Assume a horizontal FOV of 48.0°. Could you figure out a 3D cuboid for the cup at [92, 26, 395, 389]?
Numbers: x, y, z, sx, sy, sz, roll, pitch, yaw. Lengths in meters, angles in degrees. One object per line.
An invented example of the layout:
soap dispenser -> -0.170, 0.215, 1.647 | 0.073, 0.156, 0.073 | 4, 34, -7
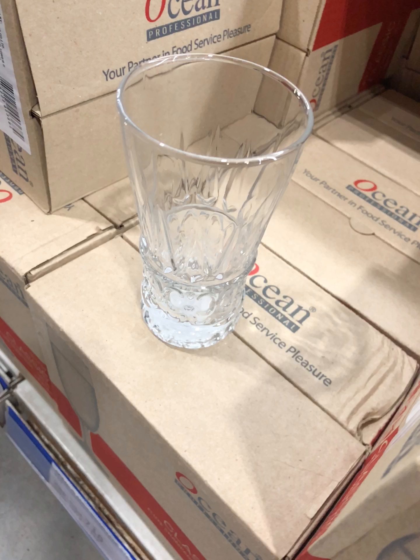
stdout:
cup -> 0.010, -0.031, 0.235 | 0.100, 0.129, 0.100 | 4, 49, -5
